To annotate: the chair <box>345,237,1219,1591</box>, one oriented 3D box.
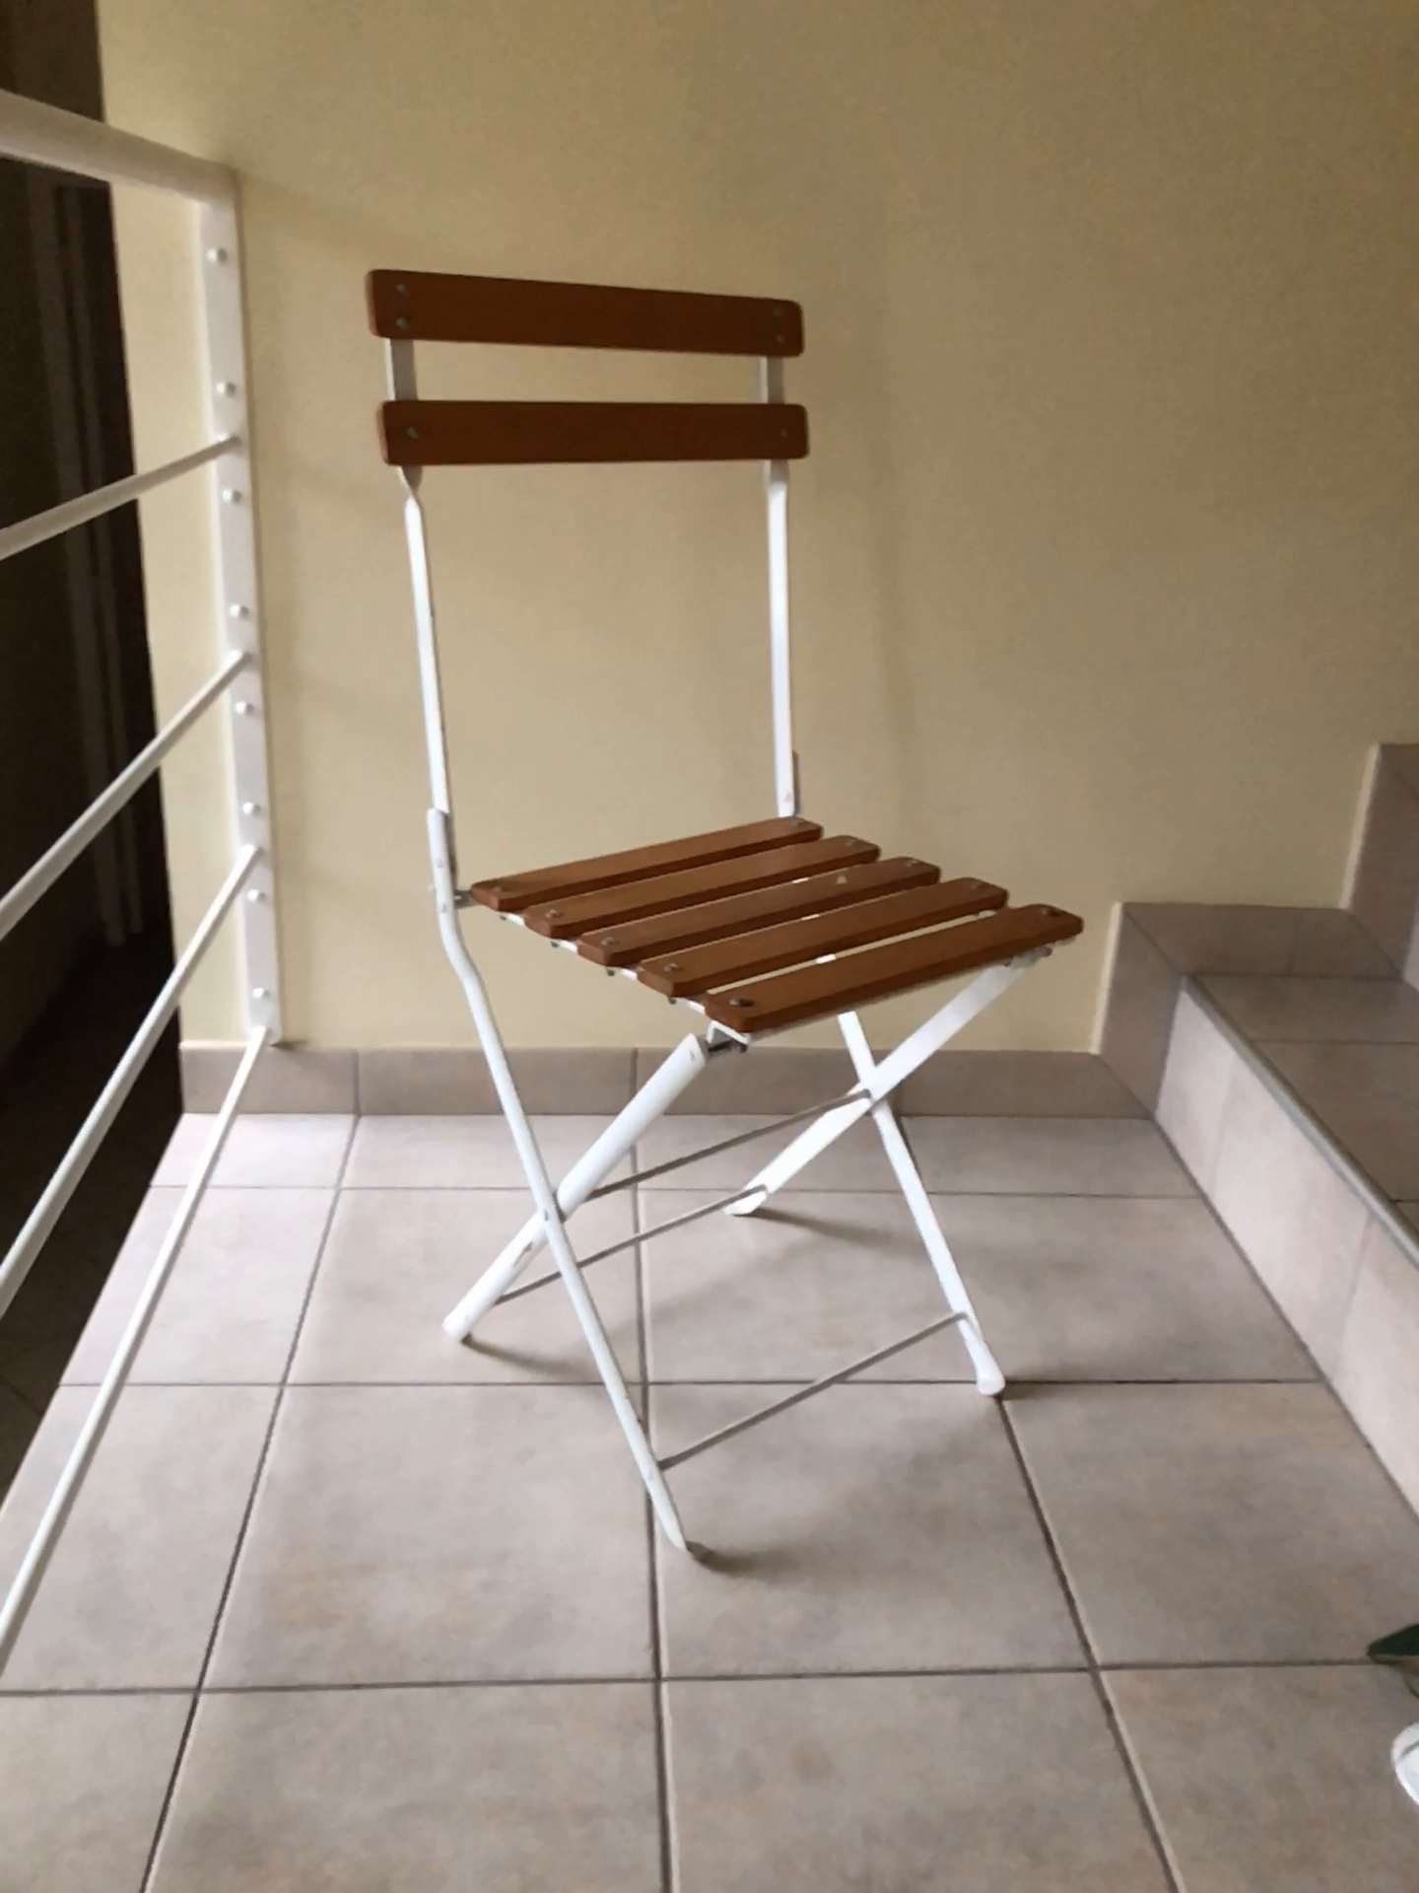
[{"bbox_3d":[0.034,-0.062,1.240,0.442,0.876,0.430,-14,25,-37],"label":"chair"}]
